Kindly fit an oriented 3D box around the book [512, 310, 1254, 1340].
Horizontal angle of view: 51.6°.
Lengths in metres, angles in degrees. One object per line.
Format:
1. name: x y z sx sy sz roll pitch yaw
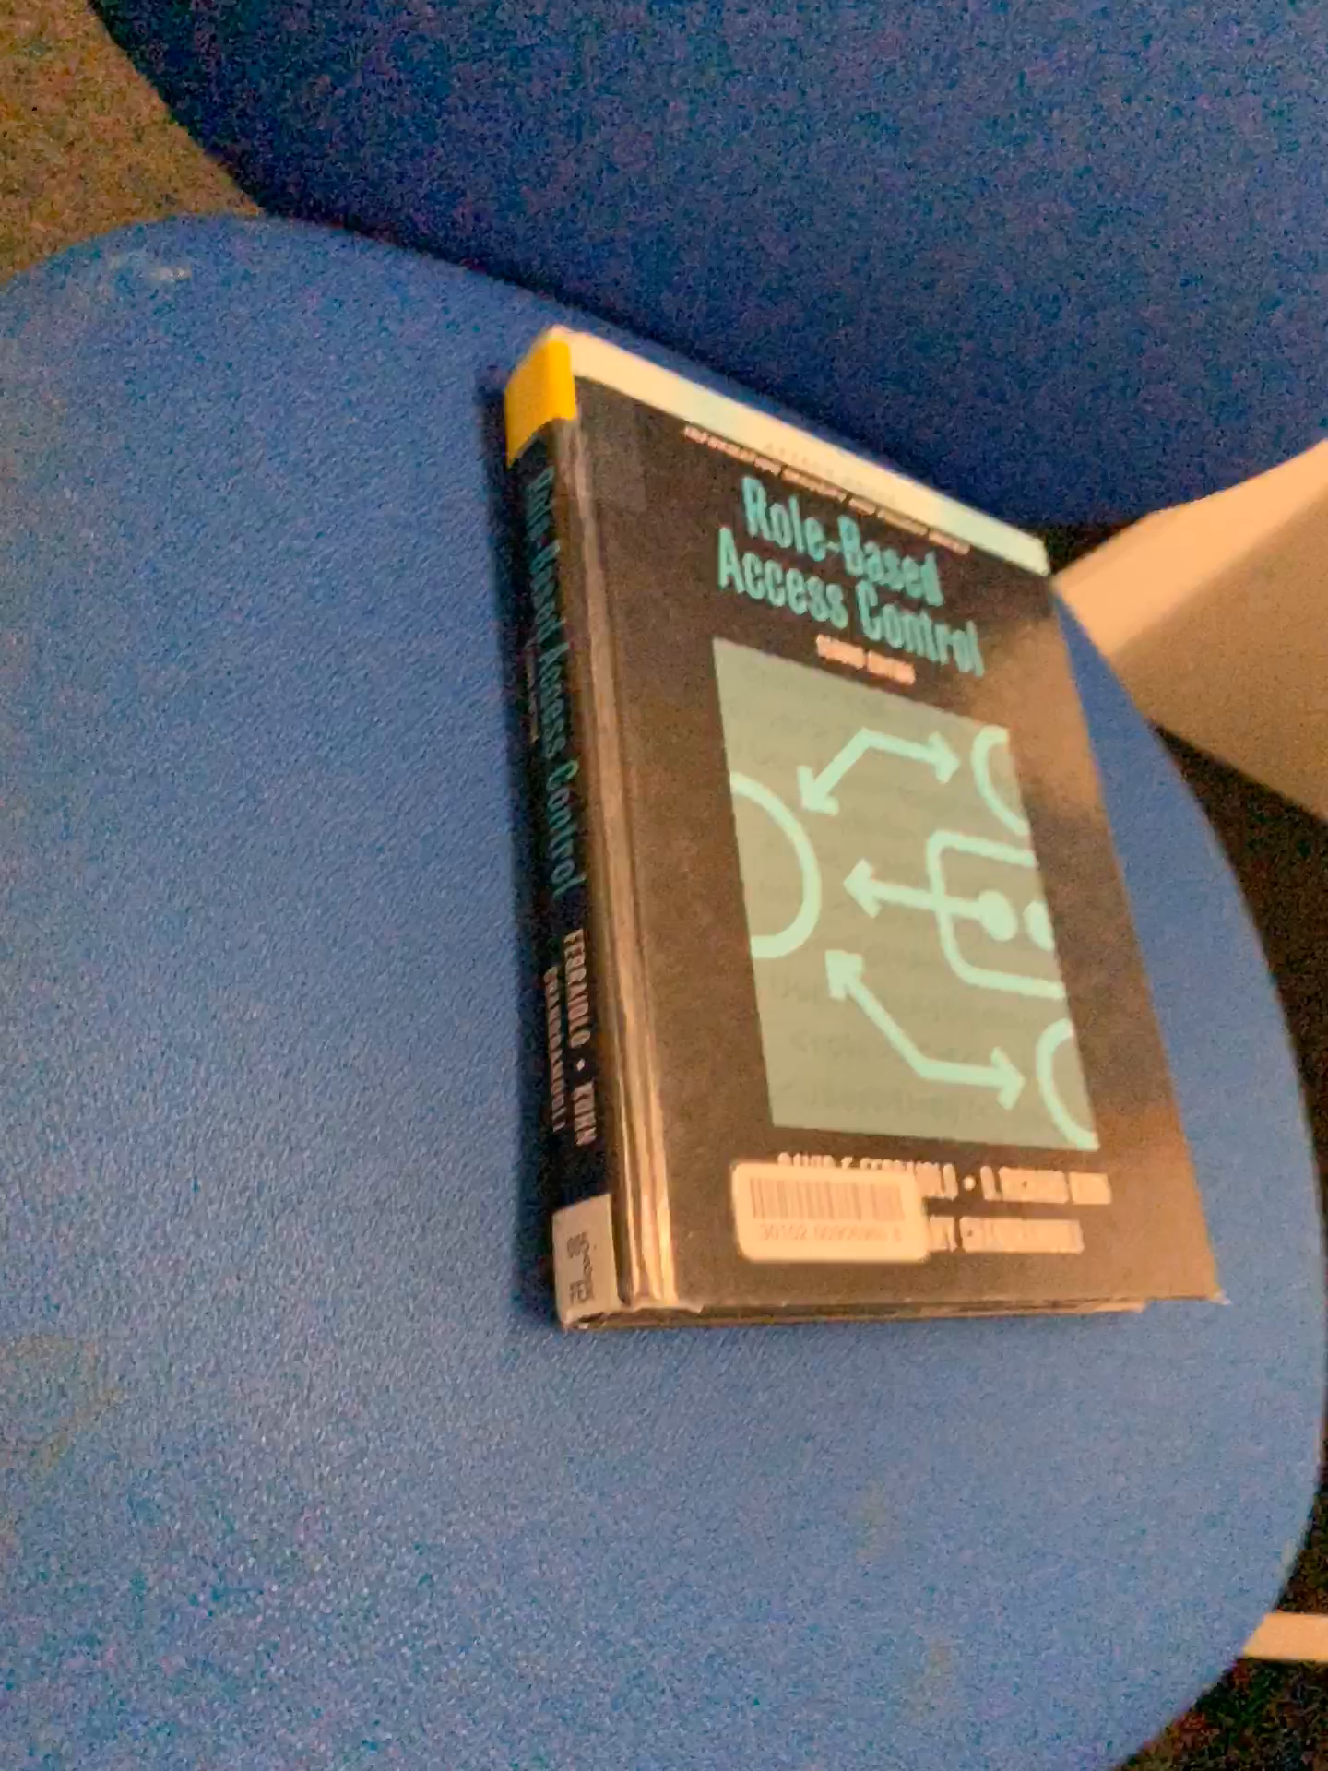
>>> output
1. book: 0.056 -0.012 0.358 0.189 0.030 0.241 12 61 -35
